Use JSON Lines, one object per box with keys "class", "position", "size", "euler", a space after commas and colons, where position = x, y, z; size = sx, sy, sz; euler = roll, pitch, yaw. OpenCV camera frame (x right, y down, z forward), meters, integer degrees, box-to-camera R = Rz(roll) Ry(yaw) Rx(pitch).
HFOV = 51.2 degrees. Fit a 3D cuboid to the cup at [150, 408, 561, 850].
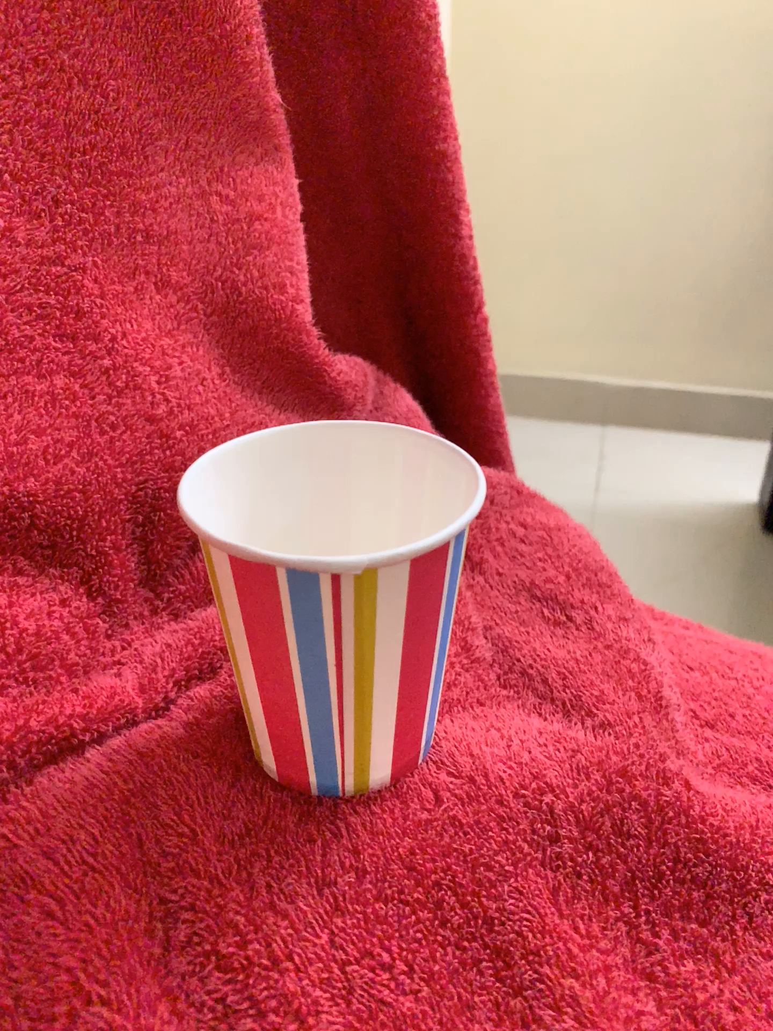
{"class": "cup", "position": [-0.006, 0.022, 0.185], "size": [0.070, 0.069, 0.071], "euler": [0, 29, 0]}
